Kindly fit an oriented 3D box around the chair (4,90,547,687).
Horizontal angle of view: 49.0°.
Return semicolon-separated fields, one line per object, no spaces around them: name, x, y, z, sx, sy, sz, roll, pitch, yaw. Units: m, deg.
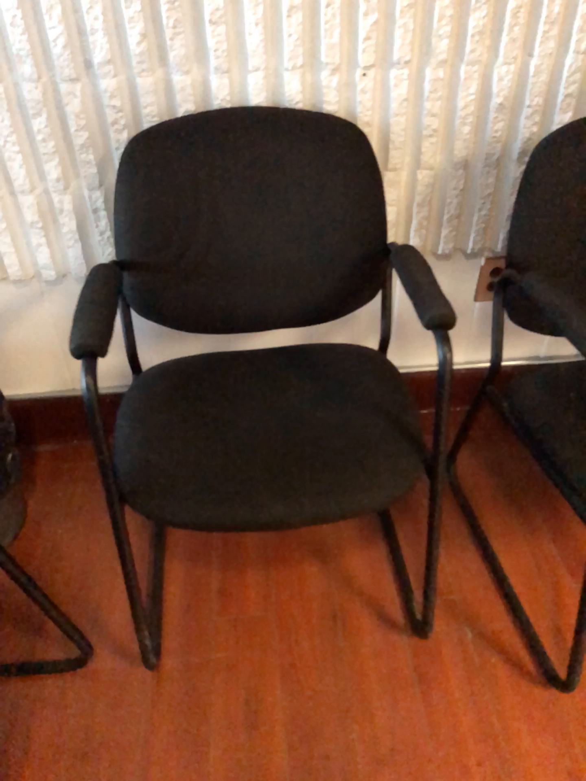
chair;-0.043;-0.034;1.245;0.590;0.795;0.775;-5;39;-4
